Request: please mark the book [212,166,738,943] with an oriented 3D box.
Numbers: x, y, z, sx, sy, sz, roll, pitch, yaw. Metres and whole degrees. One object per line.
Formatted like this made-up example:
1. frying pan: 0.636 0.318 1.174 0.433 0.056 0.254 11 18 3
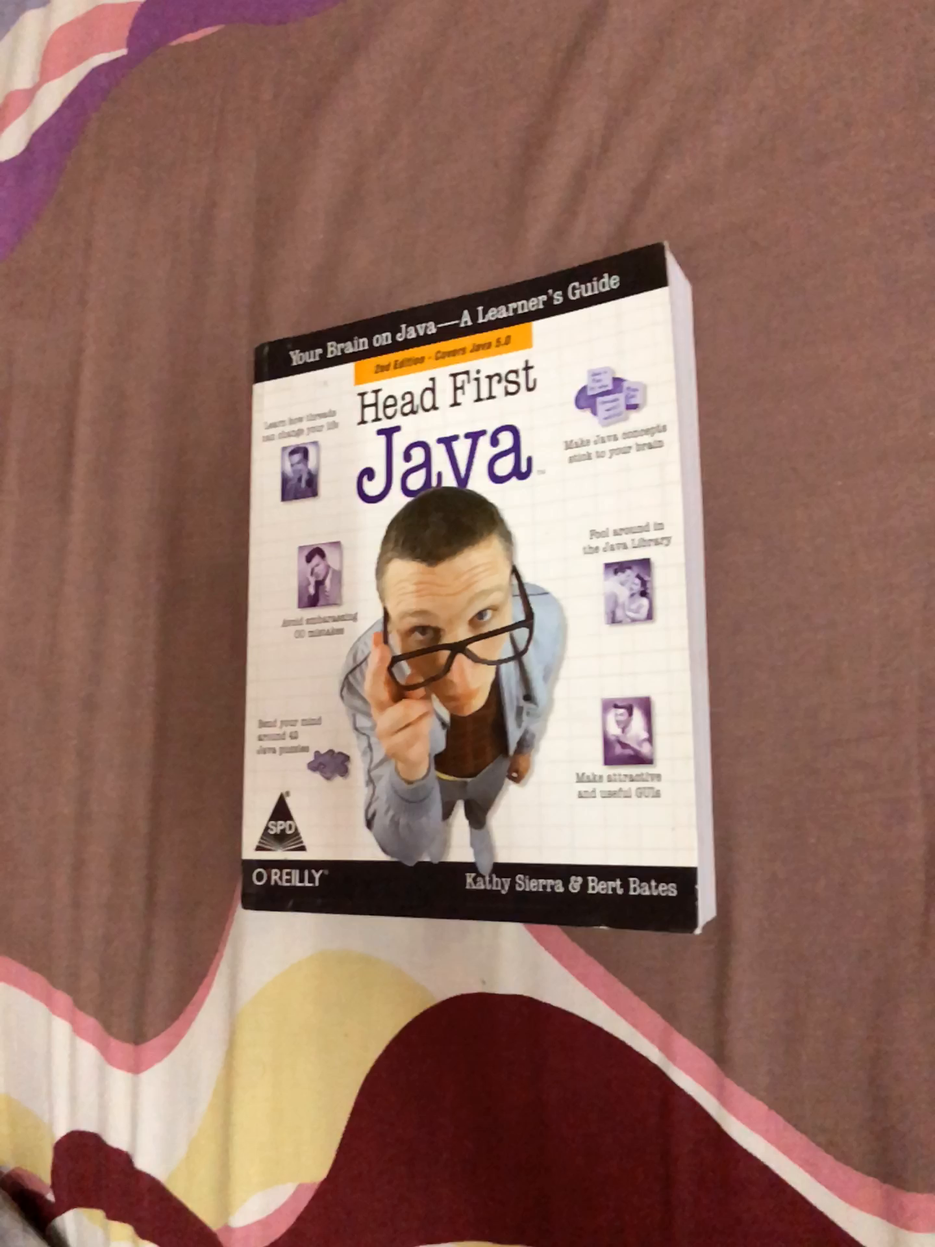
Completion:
1. book: -0.002 -0.019 0.401 0.190 0.050 0.260 -5 78 27
